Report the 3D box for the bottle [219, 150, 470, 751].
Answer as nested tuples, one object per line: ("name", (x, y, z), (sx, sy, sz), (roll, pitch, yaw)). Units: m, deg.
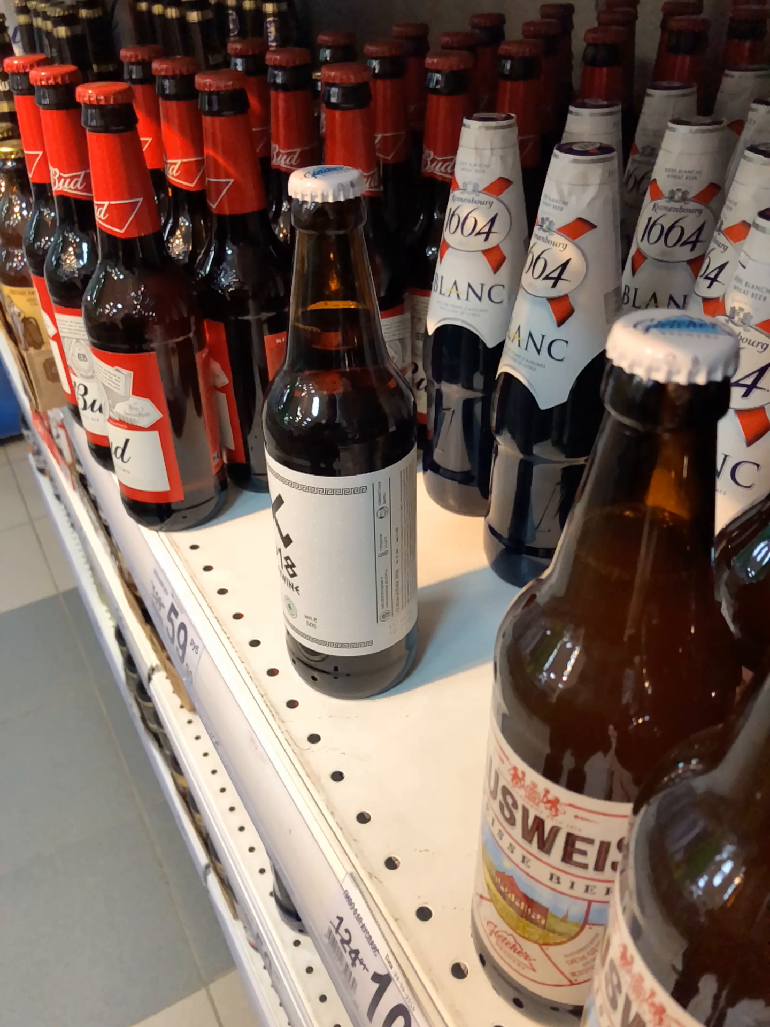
("bottle", (-0.012, -0.018, 0.382), (0.070, 0.251, 0.080), (-15, 36, -16))
